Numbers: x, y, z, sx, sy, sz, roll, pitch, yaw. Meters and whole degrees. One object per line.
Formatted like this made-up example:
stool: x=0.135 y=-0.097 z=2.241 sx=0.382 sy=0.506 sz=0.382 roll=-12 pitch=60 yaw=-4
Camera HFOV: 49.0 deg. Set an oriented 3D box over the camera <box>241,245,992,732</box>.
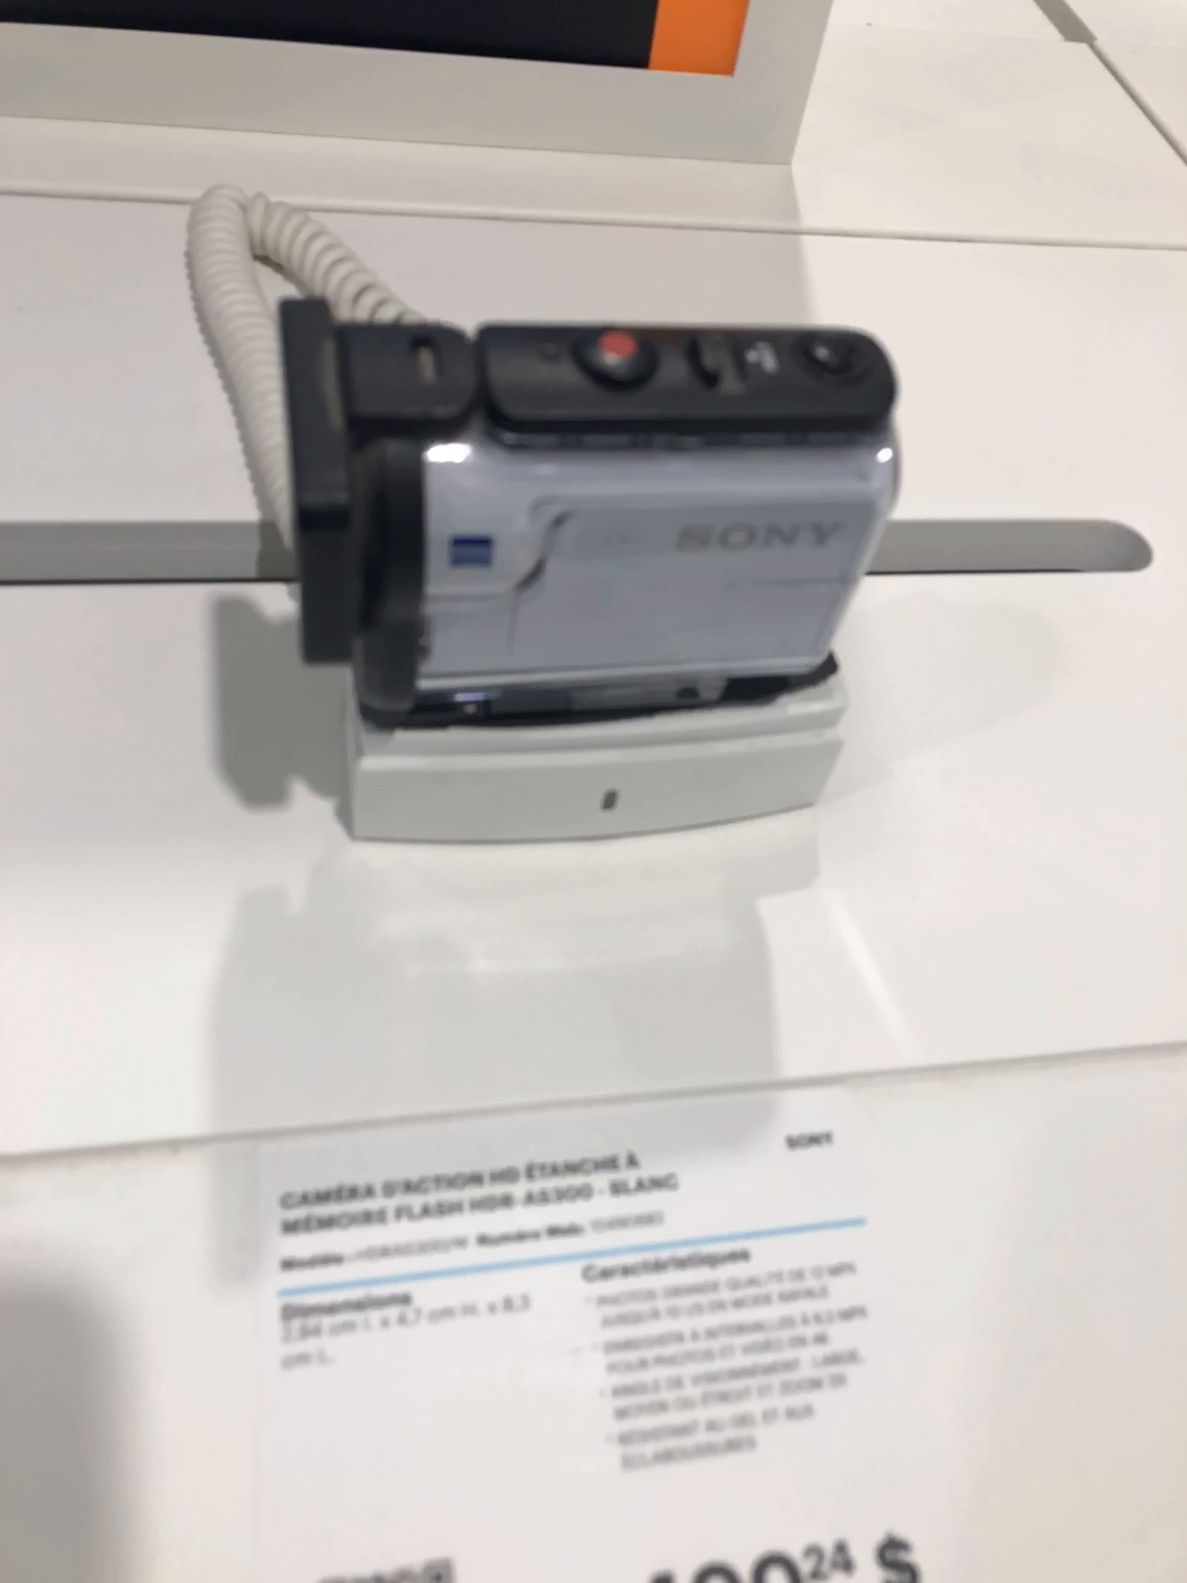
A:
camera: x=-0.001 y=-0.044 z=0.189 sx=0.093 sy=0.044 sz=0.049 roll=-3 pitch=52 yaw=-12
